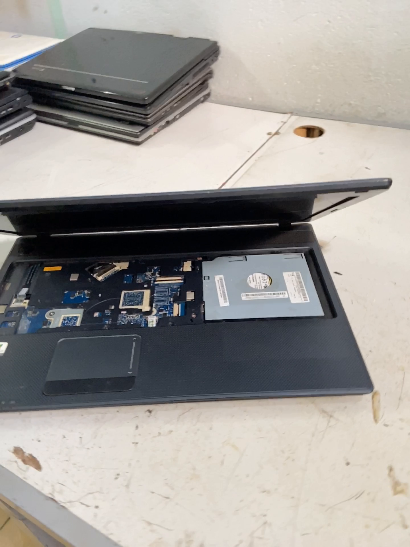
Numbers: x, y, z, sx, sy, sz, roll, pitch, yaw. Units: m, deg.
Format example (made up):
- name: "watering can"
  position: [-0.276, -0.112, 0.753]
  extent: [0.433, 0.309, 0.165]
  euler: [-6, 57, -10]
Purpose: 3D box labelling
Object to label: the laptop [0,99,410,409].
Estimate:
- name: "laptop"
  position: [-0.054, -0.031, 0.392]
  extent: [0.370, 0.156, 0.240]
  euler: [-3, 40, 1]
